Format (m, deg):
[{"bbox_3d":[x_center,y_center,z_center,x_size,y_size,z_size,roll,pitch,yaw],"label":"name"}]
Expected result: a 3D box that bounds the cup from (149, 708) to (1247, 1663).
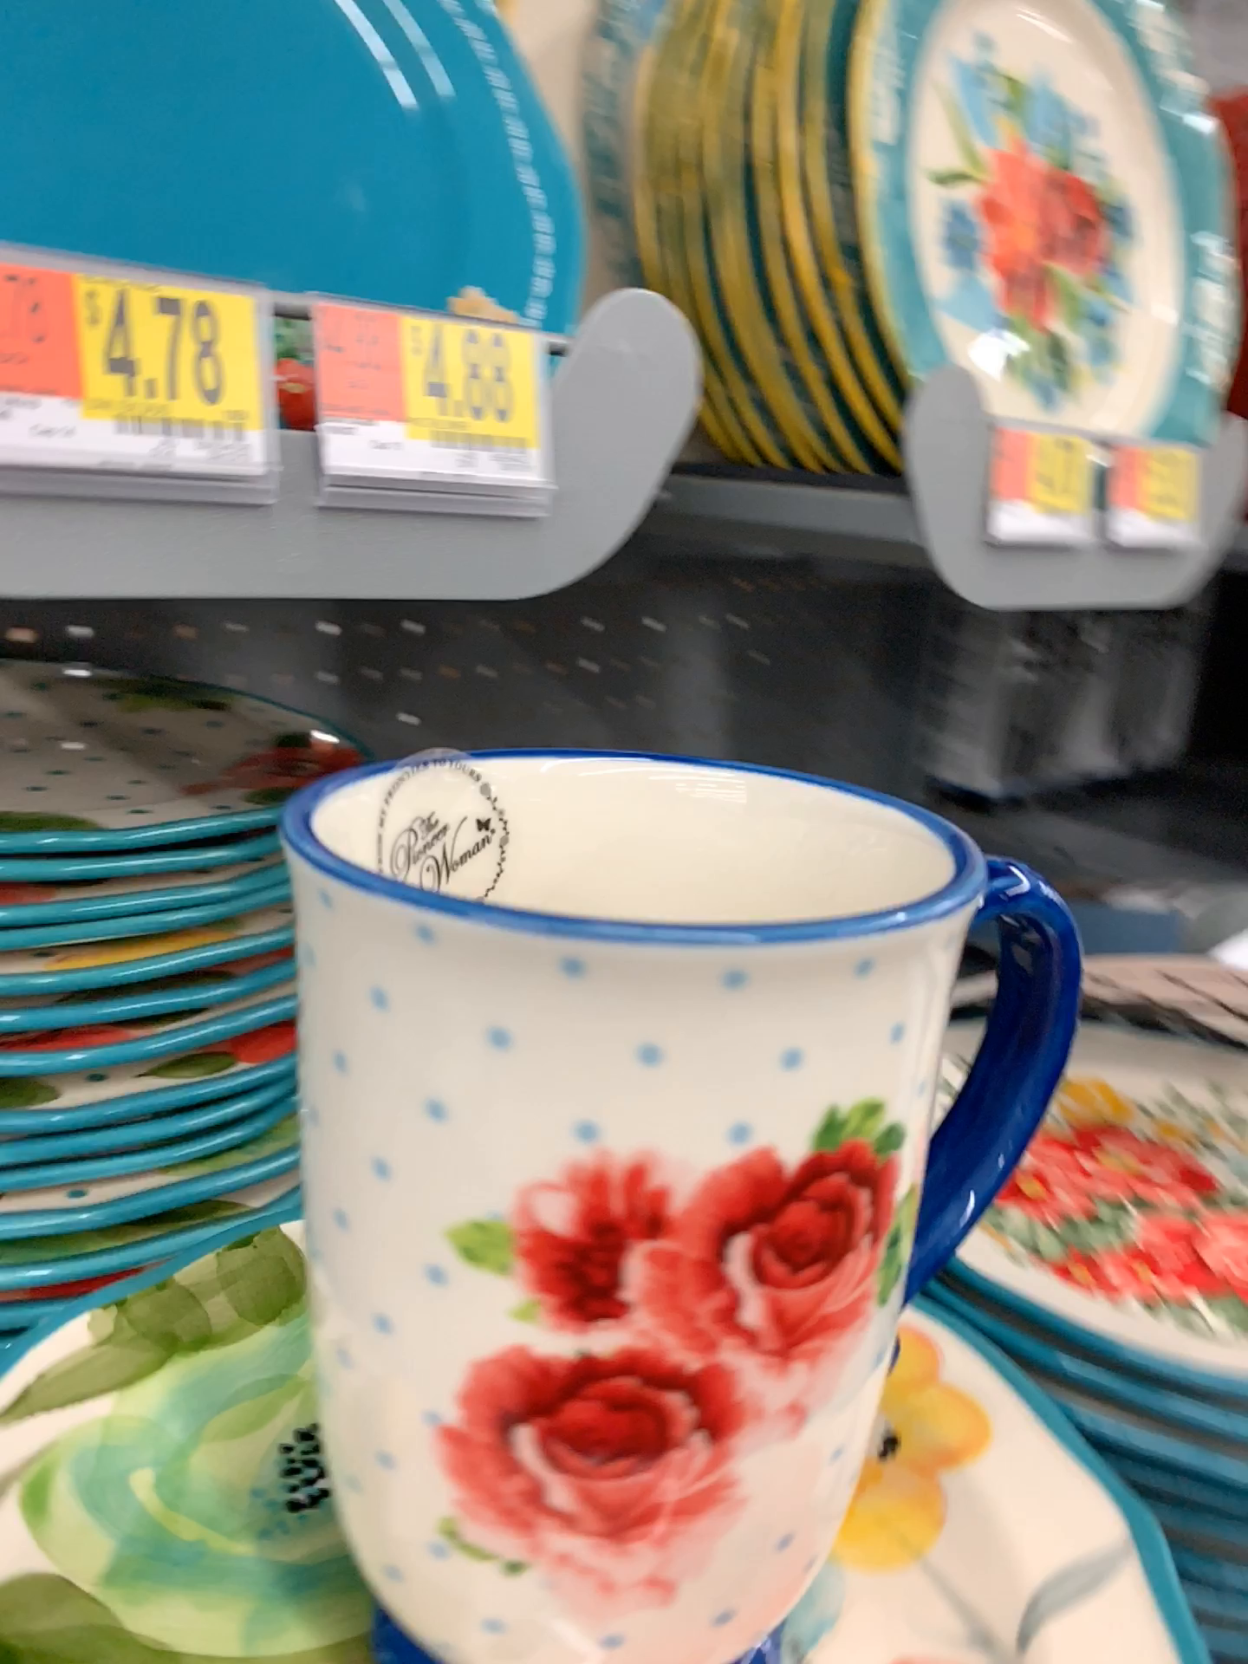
[{"bbox_3d":[0.005,0.055,0.195,0.130,0.130,0.090,-4,18,-28],"label":"cup"}]
